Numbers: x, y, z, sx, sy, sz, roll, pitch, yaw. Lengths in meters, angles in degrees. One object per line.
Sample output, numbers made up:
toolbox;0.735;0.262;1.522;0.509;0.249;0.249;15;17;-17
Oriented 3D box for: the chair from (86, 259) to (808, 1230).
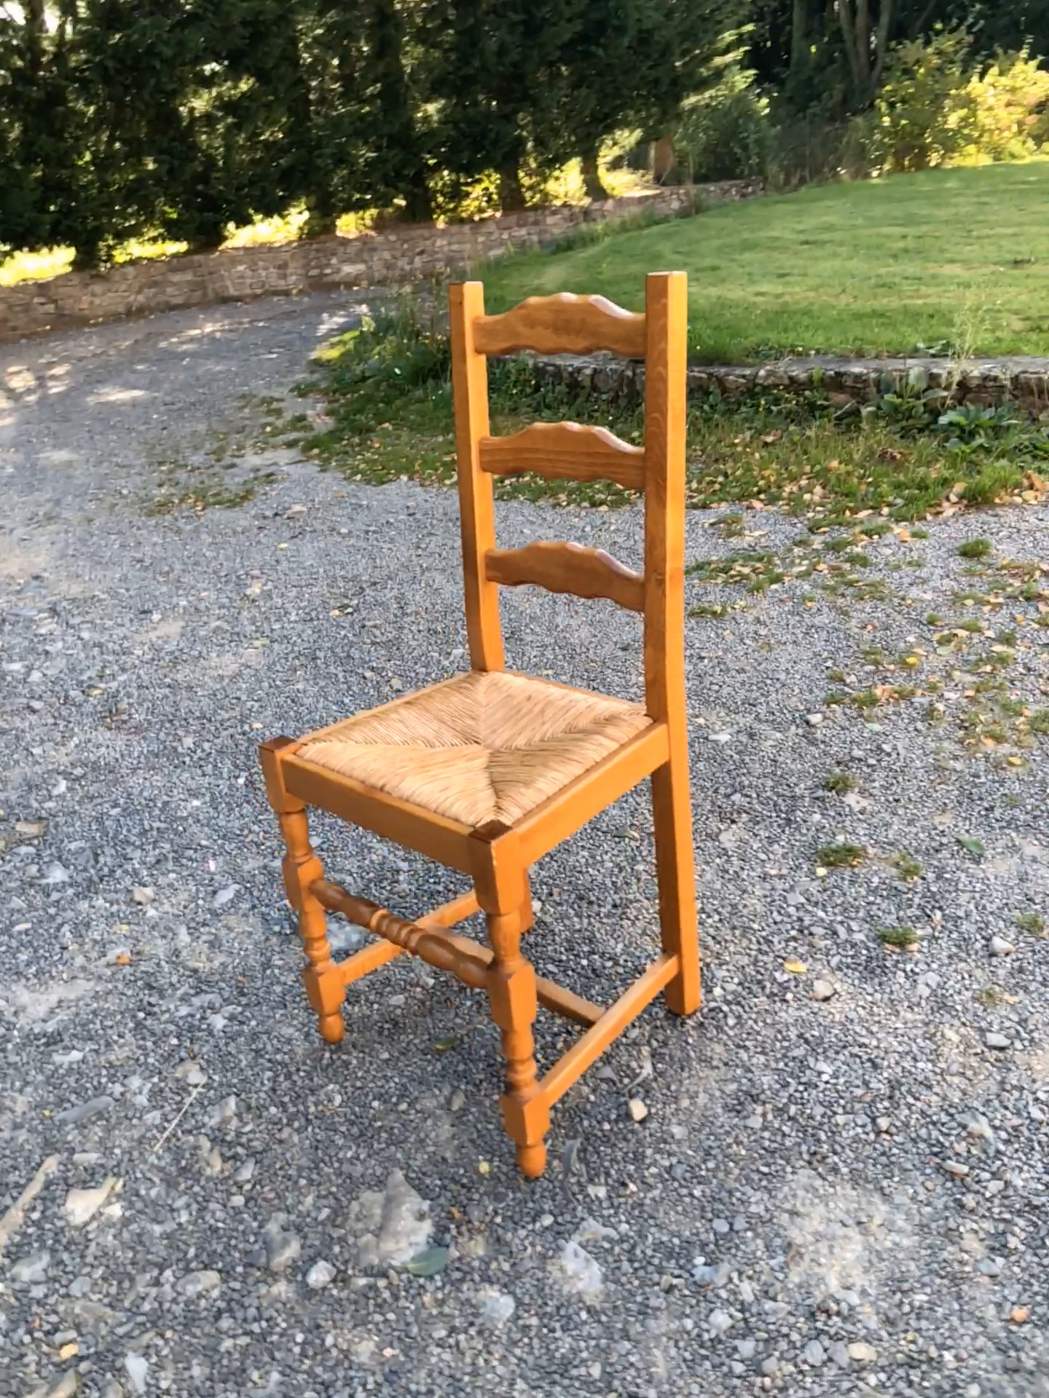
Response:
chair;-0.038;-0.007;1.344;0.530;0.886;0.523;16;31;41
